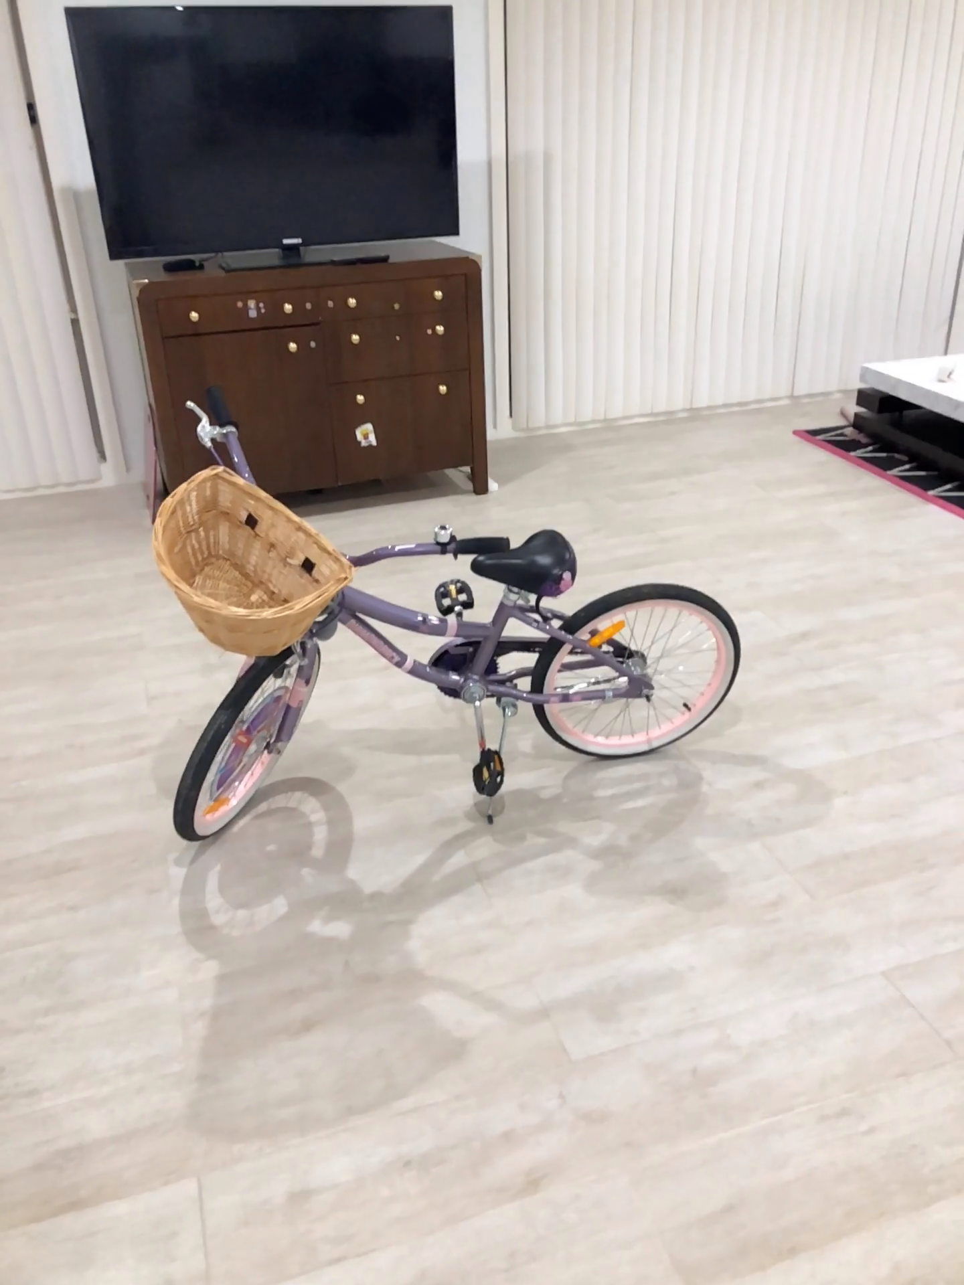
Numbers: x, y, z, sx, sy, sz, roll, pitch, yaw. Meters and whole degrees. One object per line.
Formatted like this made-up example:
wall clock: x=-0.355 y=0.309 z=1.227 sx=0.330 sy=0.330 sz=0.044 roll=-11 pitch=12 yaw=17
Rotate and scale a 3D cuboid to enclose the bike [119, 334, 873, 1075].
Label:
bike: x=-0.022 y=0.029 z=2.106 sx=1.215 sy=0.878 sz=0.750 roll=-15 pitch=29 yaw=-15
